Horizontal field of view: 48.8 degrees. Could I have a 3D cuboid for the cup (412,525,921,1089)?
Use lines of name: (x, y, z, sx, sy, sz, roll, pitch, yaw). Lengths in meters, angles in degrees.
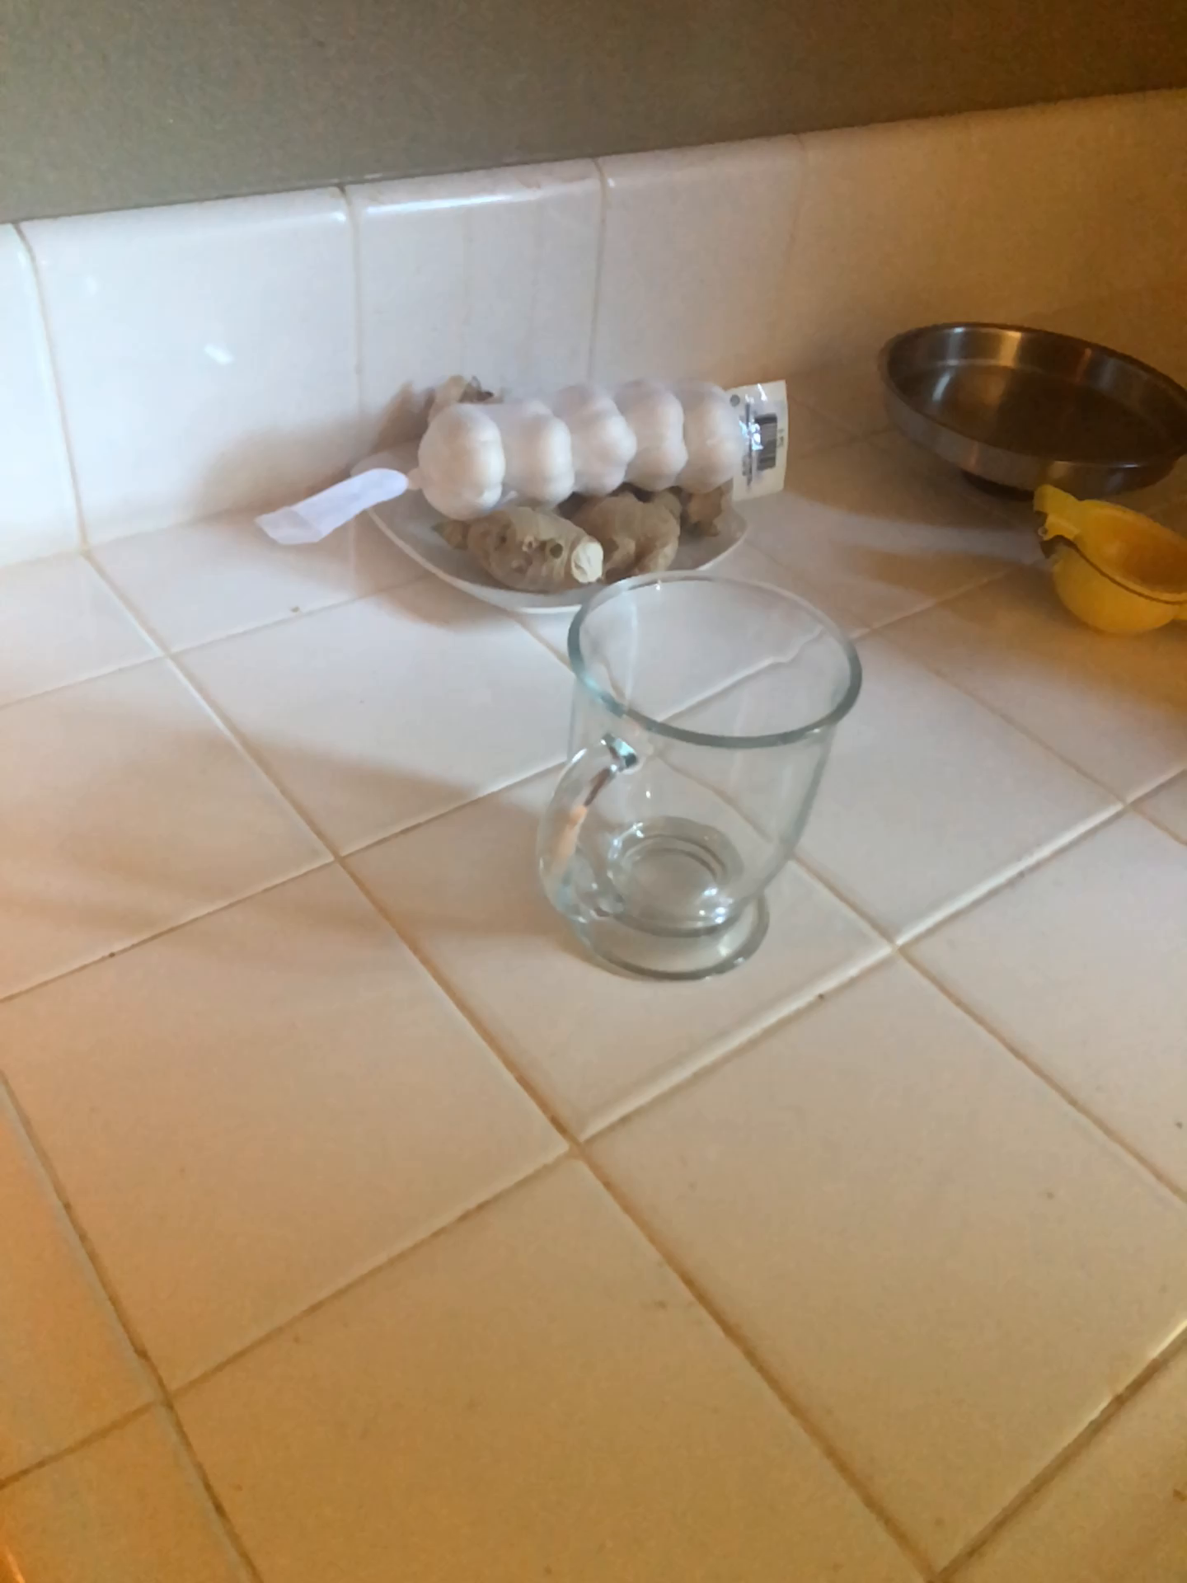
cup: (0.020, 0.001, 0.455, 0.131, 0.119, 0.100, -30, 54, -35)
